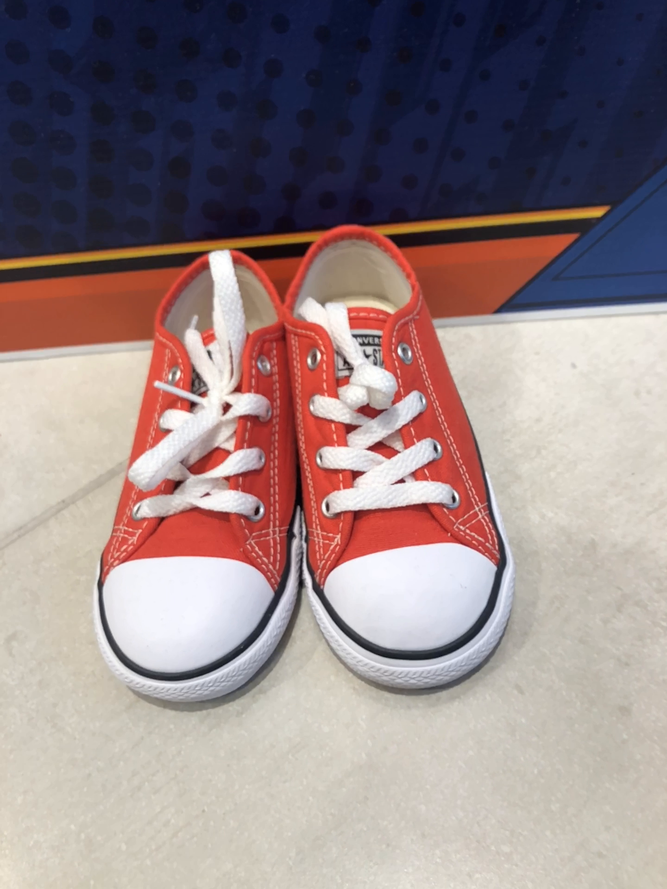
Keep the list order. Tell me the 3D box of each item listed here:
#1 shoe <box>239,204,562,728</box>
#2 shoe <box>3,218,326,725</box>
[{"bbox_3d":[0.015,-0.003,0.293,0.080,0.070,0.191,-10,51,0],"label":"shoe"},{"bbox_3d":[-0.048,0.001,0.294,0.080,0.070,0.191,-3,52,5],"label":"shoe"}]
